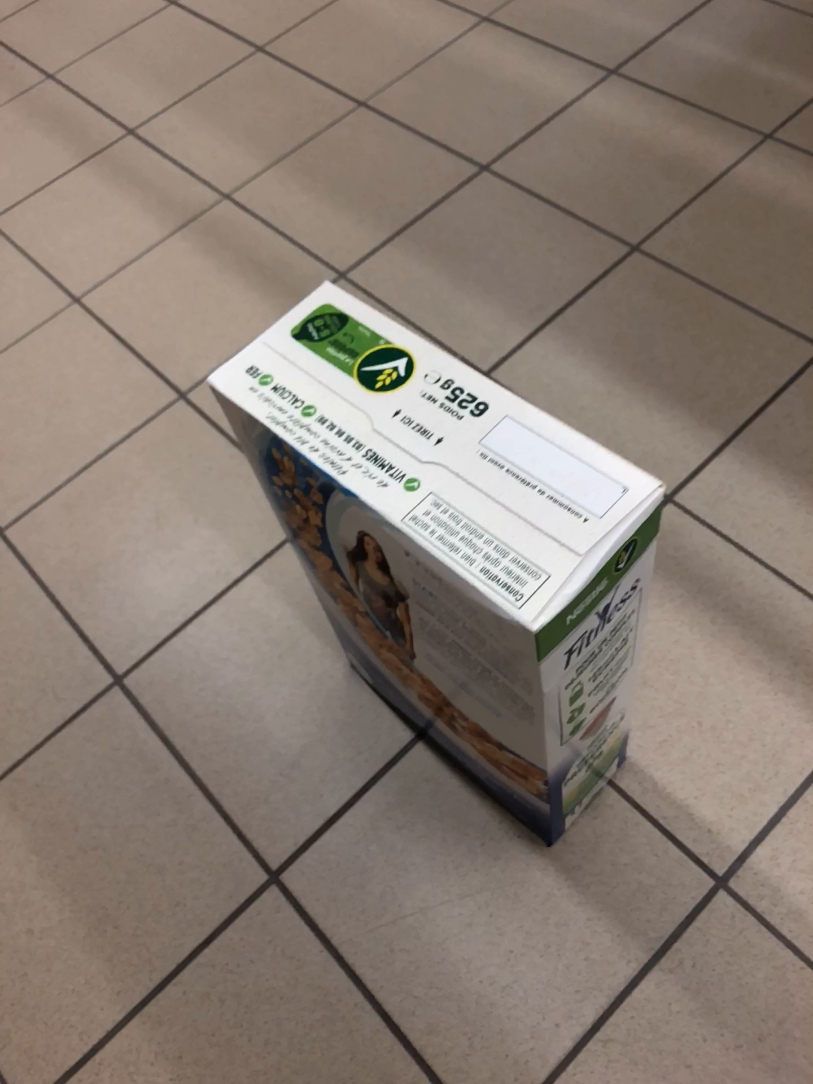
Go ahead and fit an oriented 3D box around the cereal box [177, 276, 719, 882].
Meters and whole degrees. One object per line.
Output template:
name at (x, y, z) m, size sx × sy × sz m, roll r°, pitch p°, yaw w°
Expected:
cereal box at (0.028, 0.040, 0.482) m, size 0.210 × 0.299 × 0.090 m, roll 36°, pitch 70°, yaw 28°
